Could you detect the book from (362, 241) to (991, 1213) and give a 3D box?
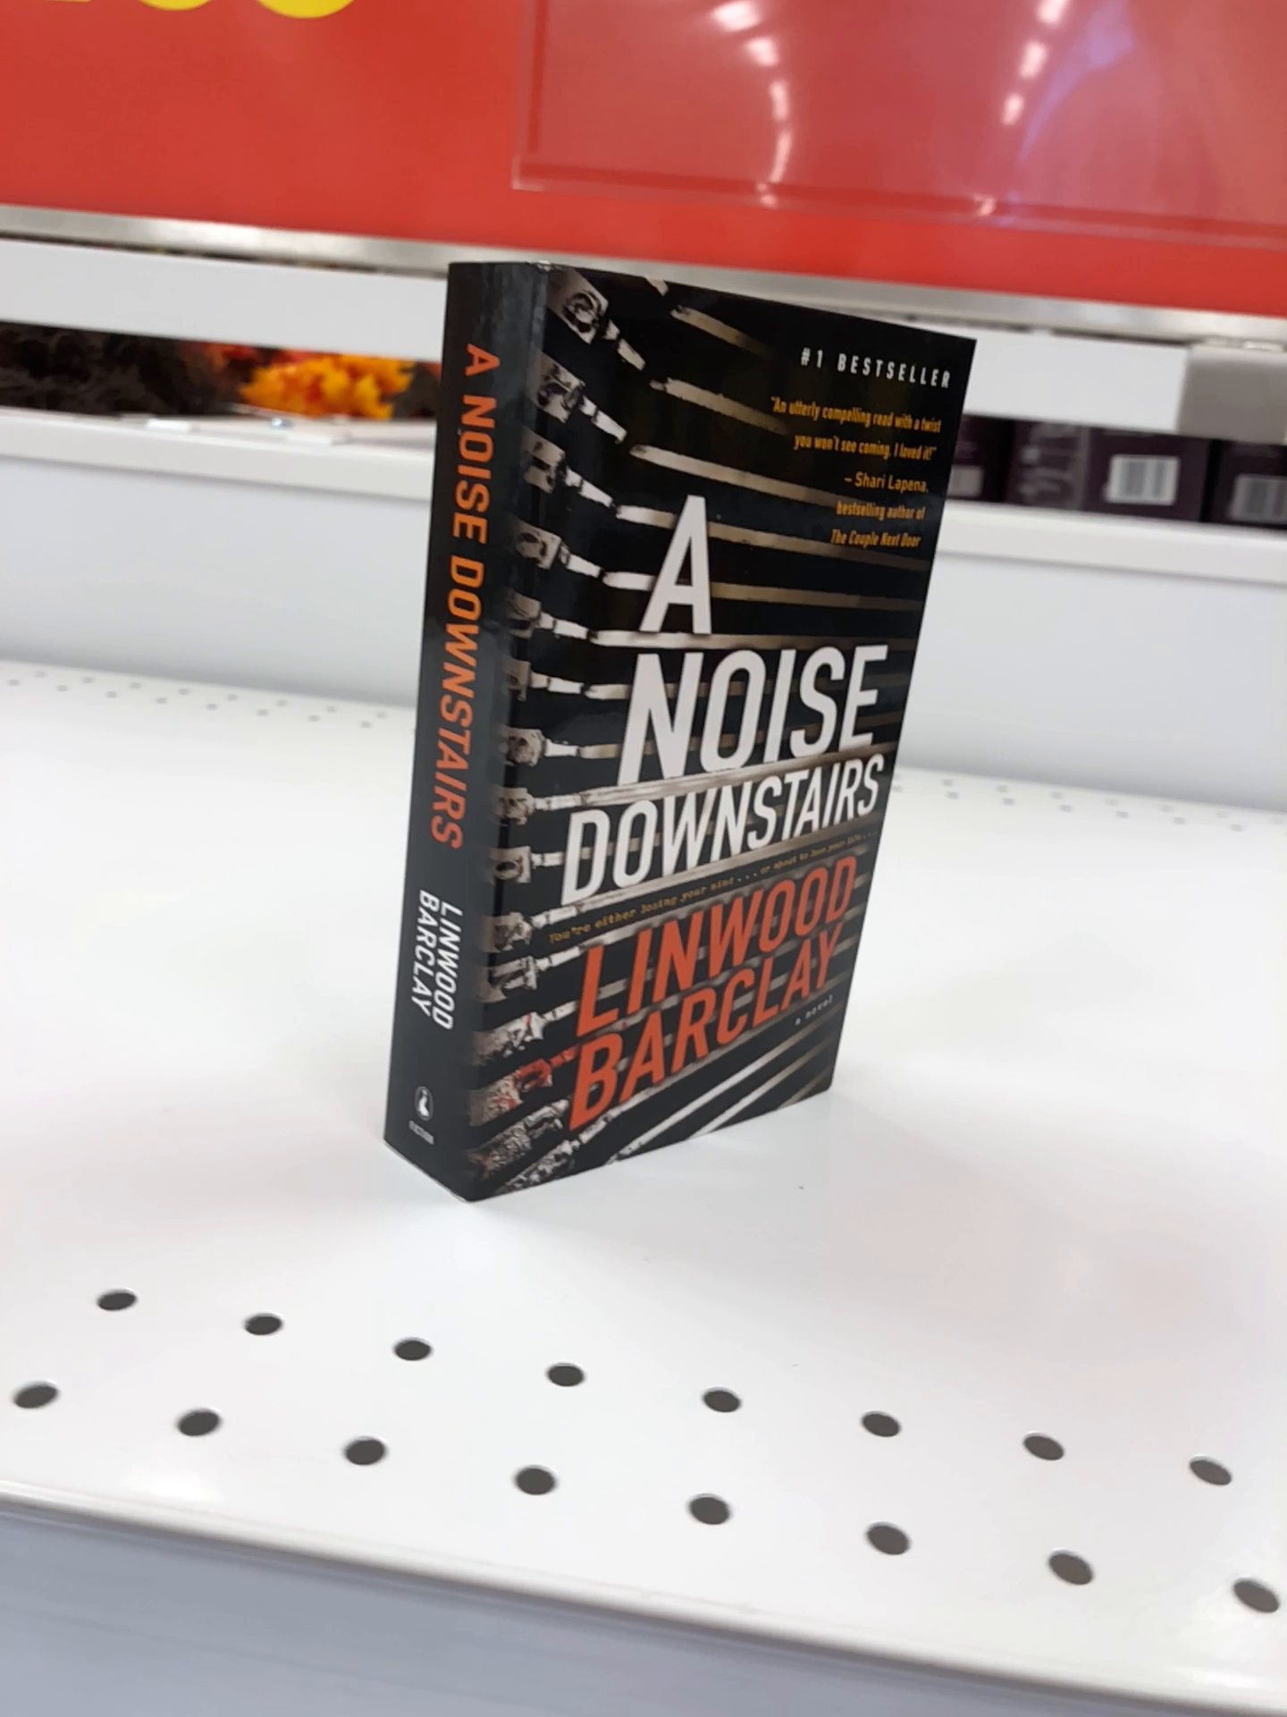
[{"bbox_3d":[0.005,-0.026,0.295,0.110,0.170,0.041,-8,22,-38],"label":"book"}]
